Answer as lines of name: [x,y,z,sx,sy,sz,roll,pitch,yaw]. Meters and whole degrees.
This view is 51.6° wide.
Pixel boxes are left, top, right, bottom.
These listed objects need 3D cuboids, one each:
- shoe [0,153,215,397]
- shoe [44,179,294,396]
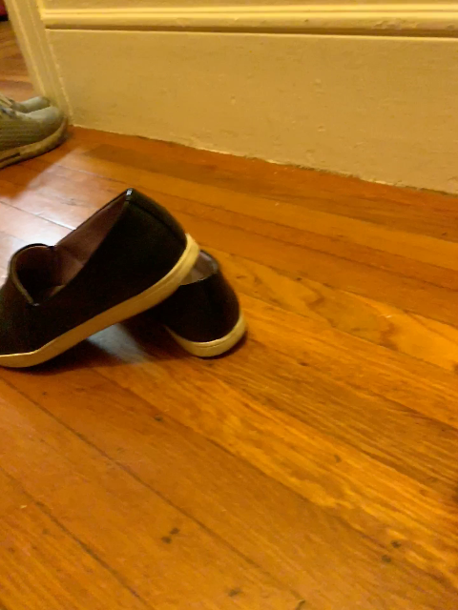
shoe: [-0.145,-0.019,0.393,0.250,0.080,0.101,-20,34,20]
shoe: [-0.068,-0.036,0.462,0.100,0.079,0.261,-32,44,-27]
